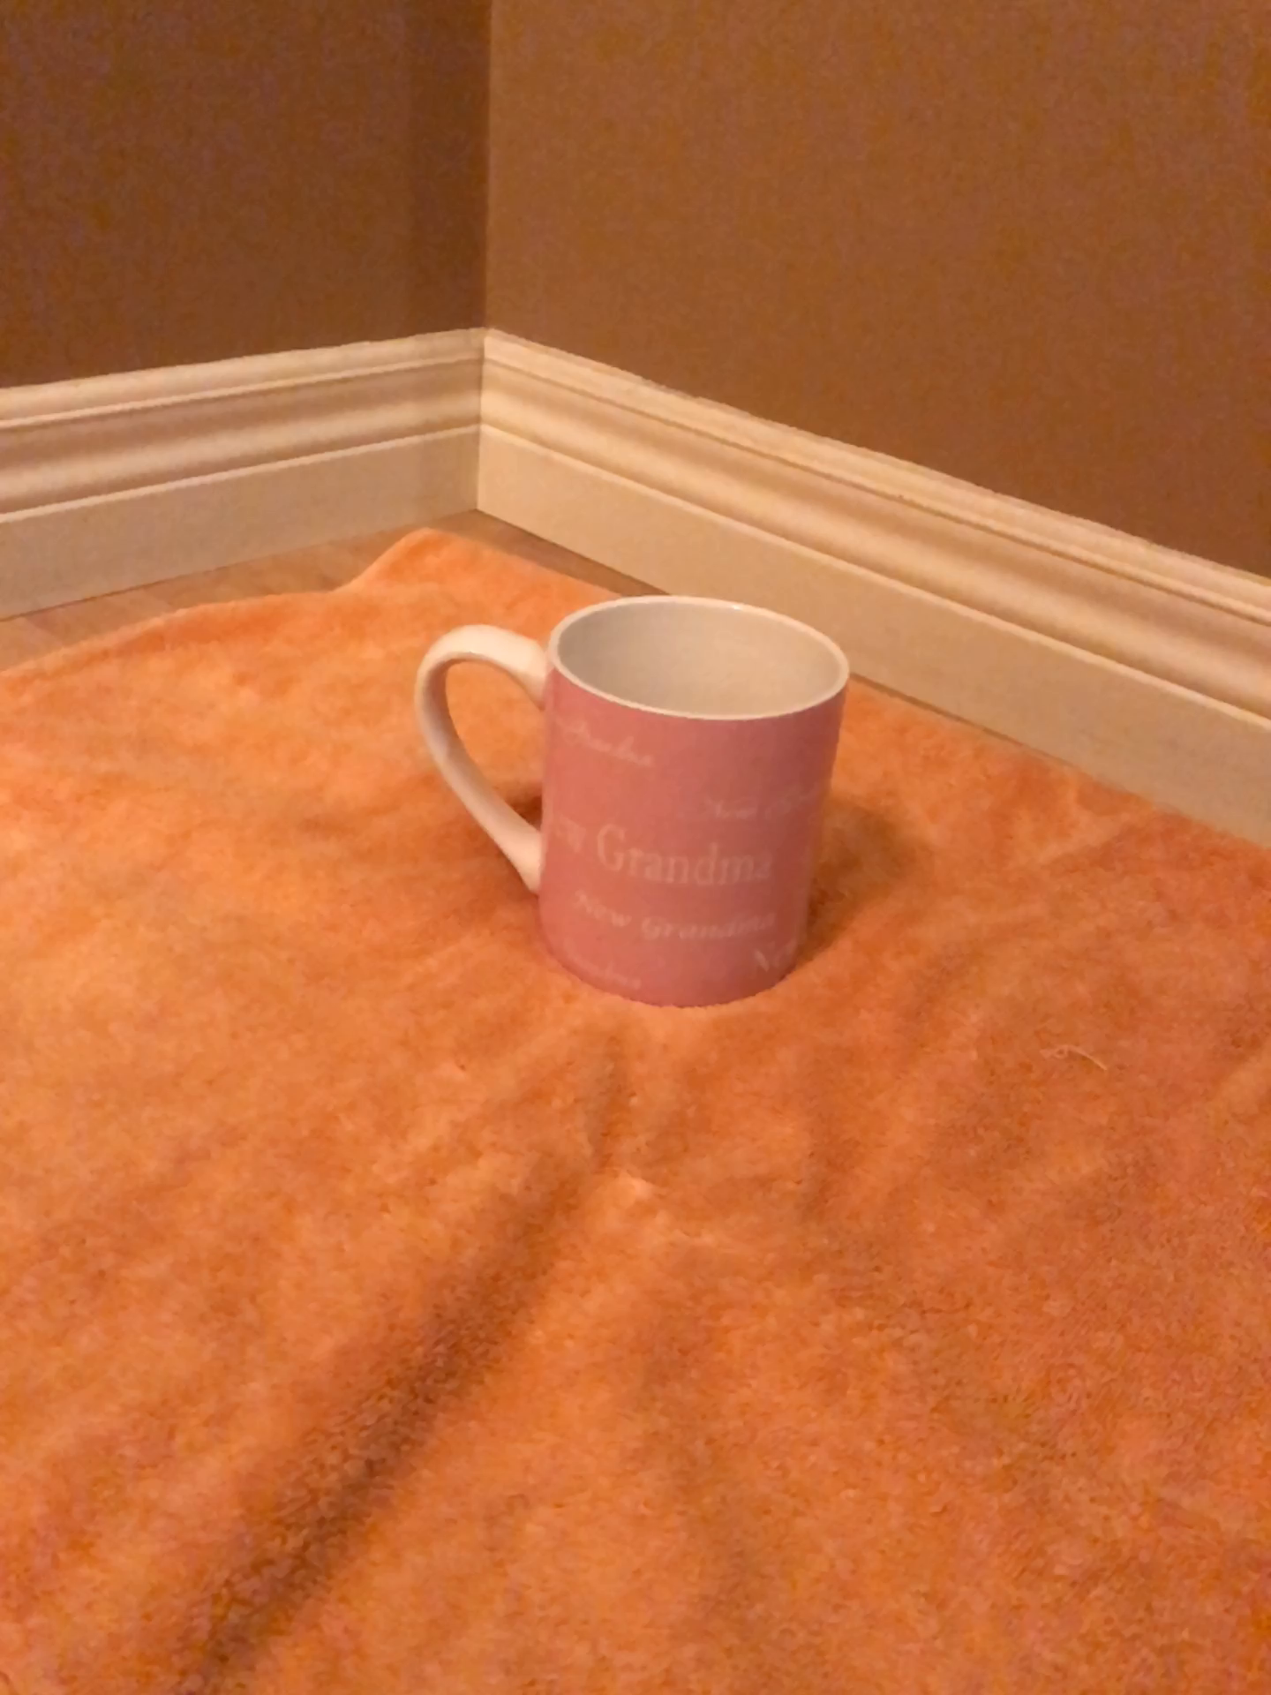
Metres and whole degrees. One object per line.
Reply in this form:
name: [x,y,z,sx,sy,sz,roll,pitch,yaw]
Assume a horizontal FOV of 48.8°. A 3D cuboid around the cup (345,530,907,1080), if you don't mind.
cup: [-0.003,-0.021,0.455,0.140,0.109,0.110,16,32,17]
